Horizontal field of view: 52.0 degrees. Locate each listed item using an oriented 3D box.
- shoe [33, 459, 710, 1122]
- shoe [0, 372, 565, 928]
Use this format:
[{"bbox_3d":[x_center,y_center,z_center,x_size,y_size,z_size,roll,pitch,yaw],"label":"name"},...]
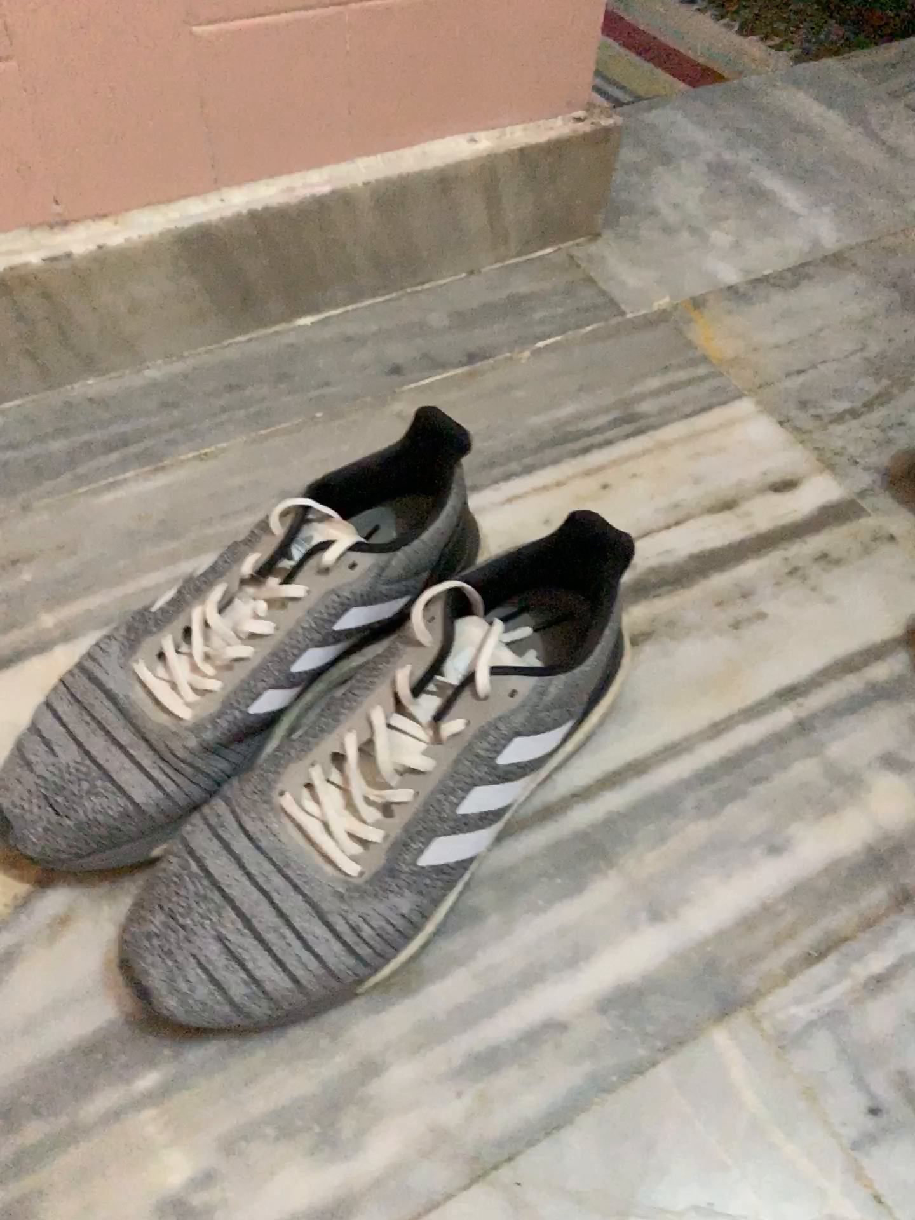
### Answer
[{"bbox_3d":[-0.022,0.065,0.447,0.120,0.090,0.300,36,59,21],"label":"shoe"},{"bbox_3d":[-0.093,0.002,0.482,0.110,0.080,0.309,40,60,23],"label":"shoe"}]
